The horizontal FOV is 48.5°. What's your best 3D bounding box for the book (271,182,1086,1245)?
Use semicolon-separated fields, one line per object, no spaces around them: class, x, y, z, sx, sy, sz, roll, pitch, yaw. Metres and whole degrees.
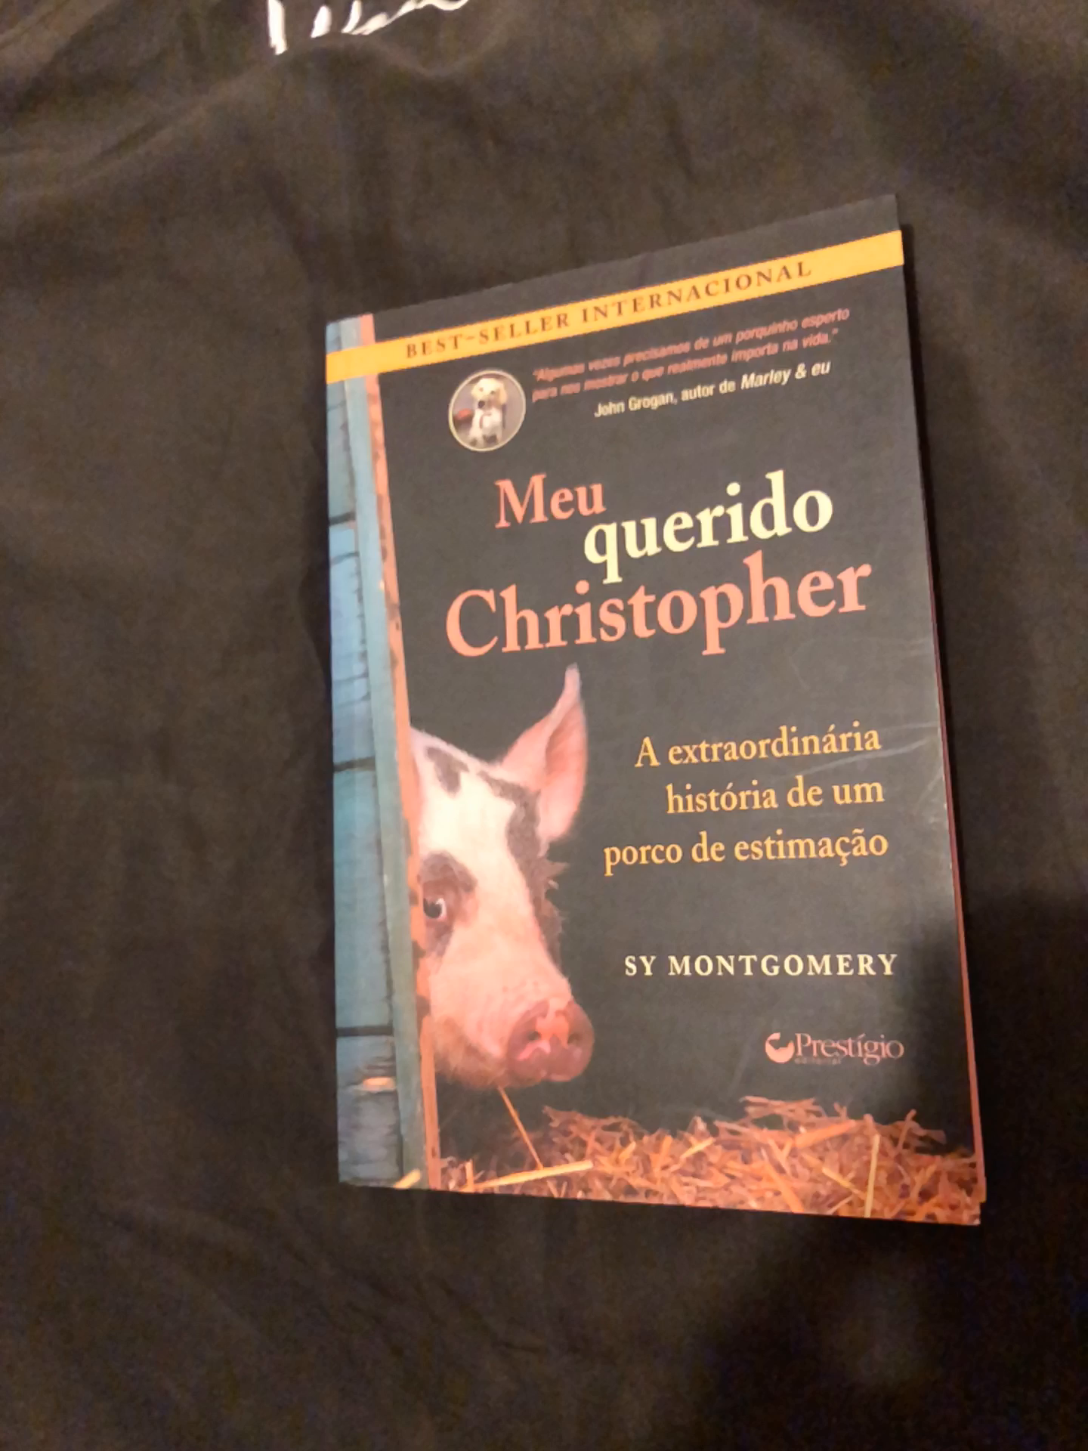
book;0.020;0.001;0.283;0.170;0.020;0.220;-6;82;18
